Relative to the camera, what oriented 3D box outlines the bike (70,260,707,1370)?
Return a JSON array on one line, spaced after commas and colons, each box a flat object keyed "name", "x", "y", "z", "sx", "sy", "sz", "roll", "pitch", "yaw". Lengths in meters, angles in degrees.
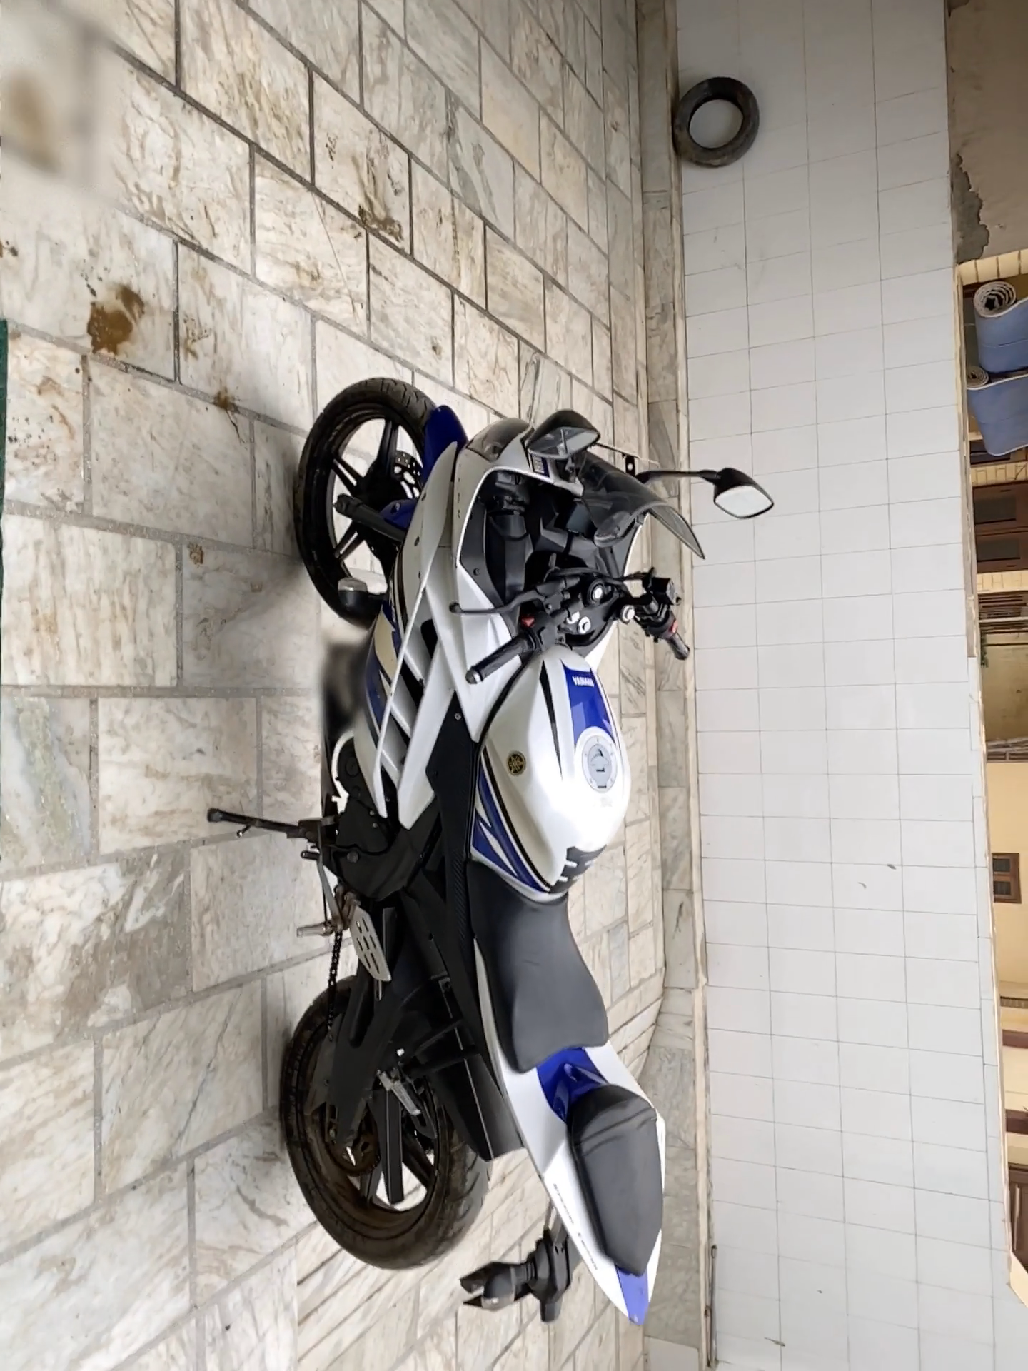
[{"name": "bike", "x": -0.253, "y": 0.244, "z": 2.173, "sx": 0.737, "sy": 0.903, "sz": 1.880, "roll": 7, "pitch": 77, "yaw": -64}]
